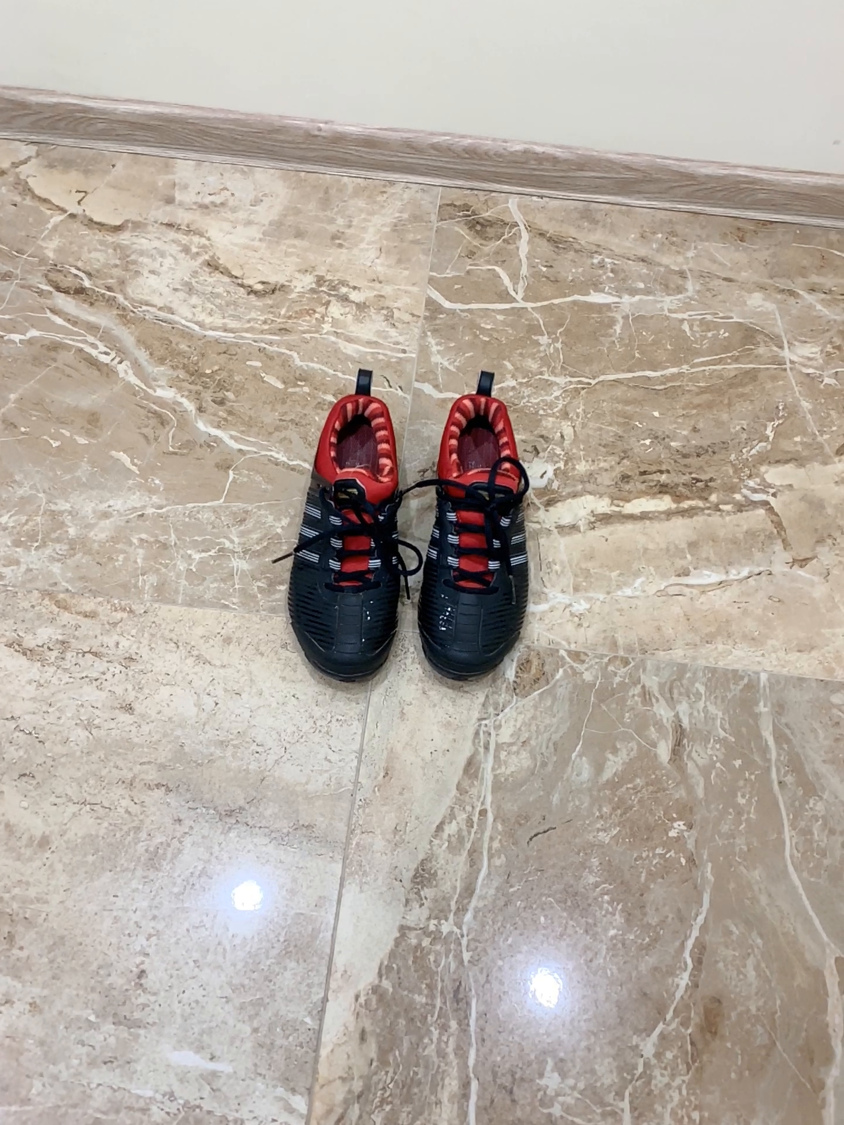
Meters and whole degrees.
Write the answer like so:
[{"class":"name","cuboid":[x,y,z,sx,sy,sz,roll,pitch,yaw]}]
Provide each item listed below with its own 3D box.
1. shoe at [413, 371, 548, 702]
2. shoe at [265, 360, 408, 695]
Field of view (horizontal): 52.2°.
[{"class":"shoe","cuboid":[0.045,-0.027,0.731,0.095,0.090,0.271,2,60,-2]},{"class":"shoe","cuboid":[-0.064,-0.035,0.721,0.095,0.090,0.271,2,60,-2]}]
